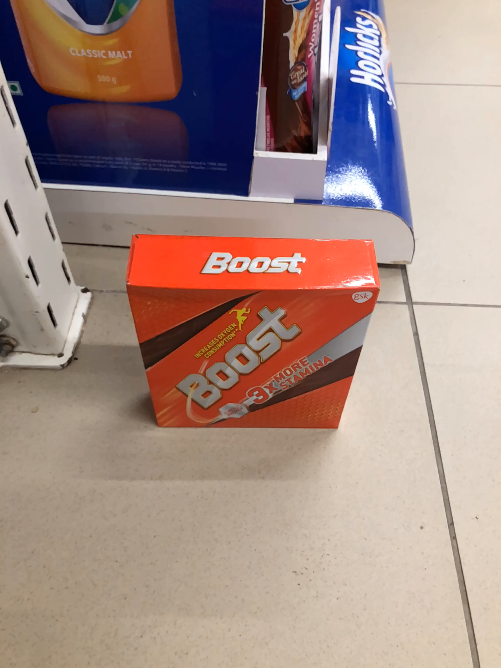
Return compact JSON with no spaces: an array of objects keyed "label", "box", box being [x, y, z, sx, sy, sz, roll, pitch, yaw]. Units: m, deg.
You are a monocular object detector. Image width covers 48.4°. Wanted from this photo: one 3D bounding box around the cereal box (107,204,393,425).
[{"label":"cereal box","box":[-0.003,-0.003,0.397,0.160,0.179,0.050,1,51,-3]}]
